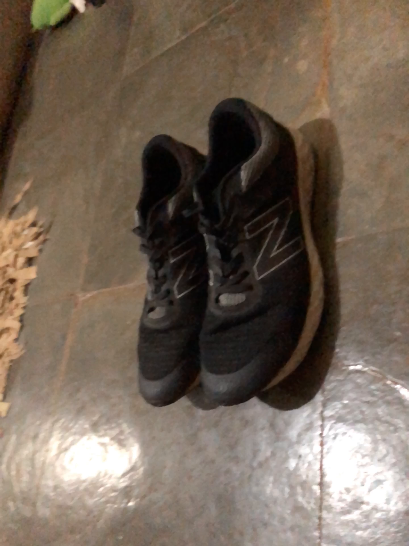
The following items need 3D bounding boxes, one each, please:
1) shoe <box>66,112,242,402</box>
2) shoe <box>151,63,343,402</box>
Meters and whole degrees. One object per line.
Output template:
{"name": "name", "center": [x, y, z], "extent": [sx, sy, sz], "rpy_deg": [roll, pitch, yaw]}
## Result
{"name": "shoe", "center": [-0.043, -0.009, 0.467], "extent": [0.120, 0.100, 0.261], "rpy_deg": [-16, 61, 39]}
{"name": "shoe", "center": [0.040, -0.029, 0.400], "extent": [0.110, 0.100, 0.261], "rpy_deg": [-16, 61, 39]}
